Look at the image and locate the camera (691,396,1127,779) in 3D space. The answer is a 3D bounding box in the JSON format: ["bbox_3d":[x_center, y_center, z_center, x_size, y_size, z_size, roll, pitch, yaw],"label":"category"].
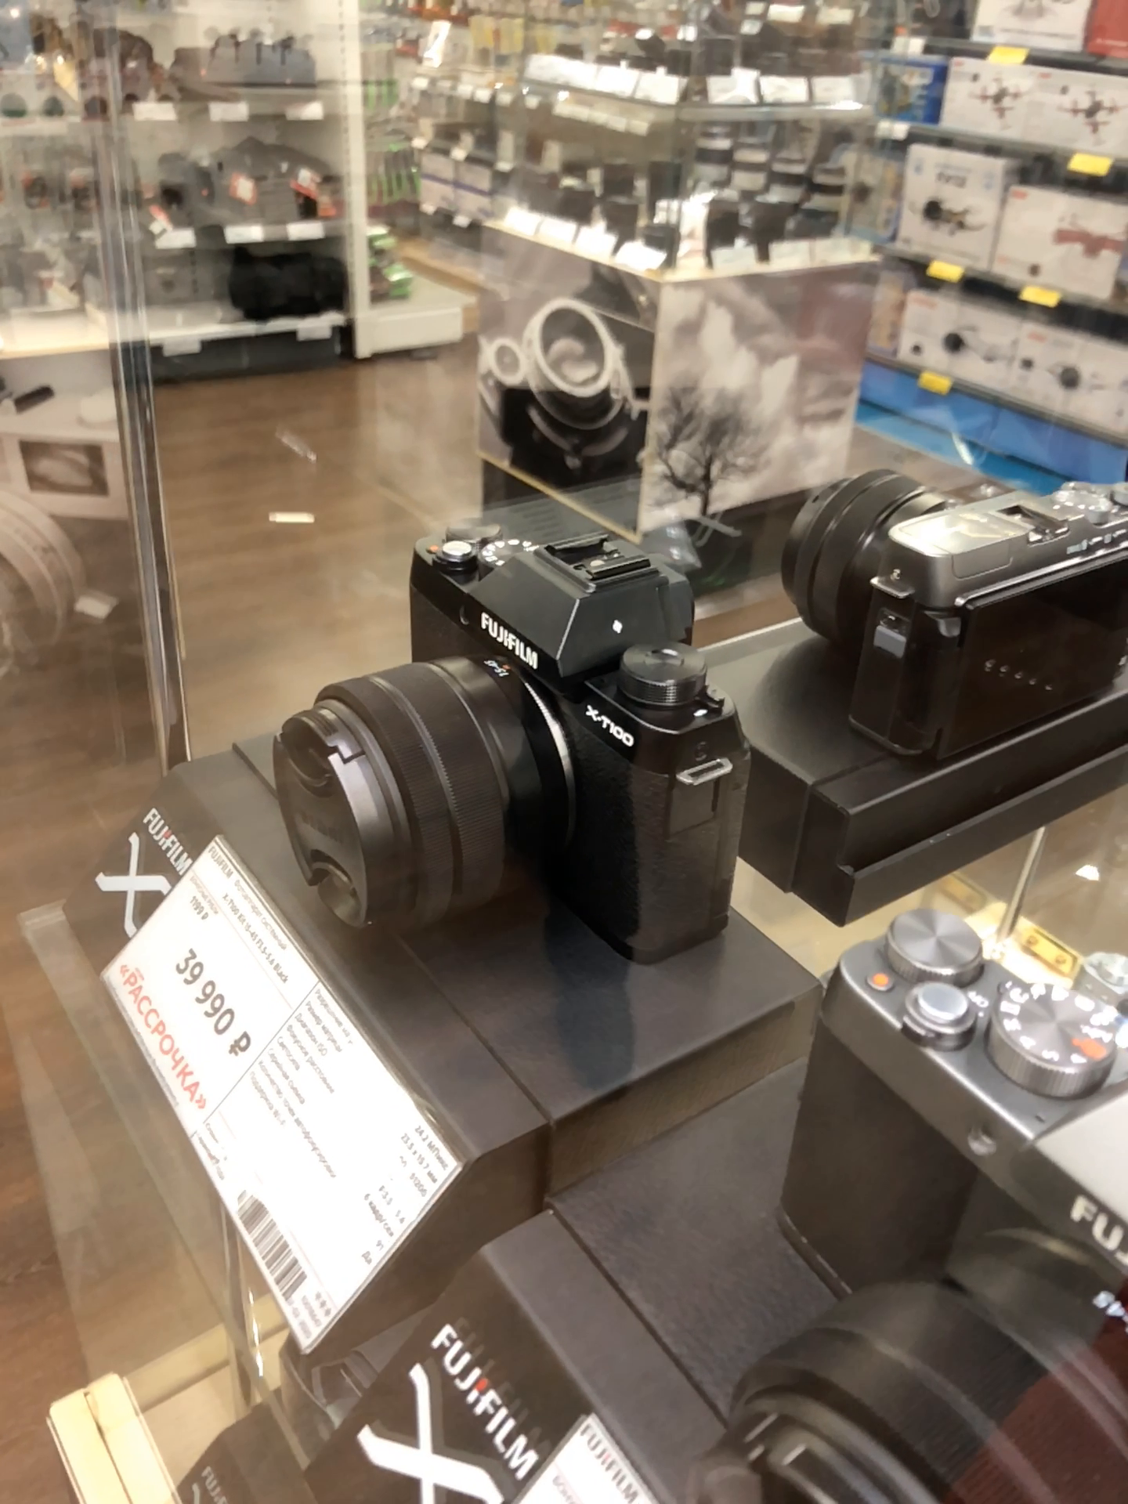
[{"bbox_3d":[0.123,-0.061,0.410,0.120,0.069,0.100,-19,38,-32],"label":"camera"}]

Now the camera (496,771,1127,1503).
[{"bbox_3d":[0.065,0.077,0.175,0.099,0.078,0.120,-17,37,-30],"label":"camera"}]

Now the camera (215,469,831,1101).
[{"bbox_3d":[-0.017,-0.002,0.313,0.095,0.089,0.120,-16,37,-29],"label":"camera"}]
